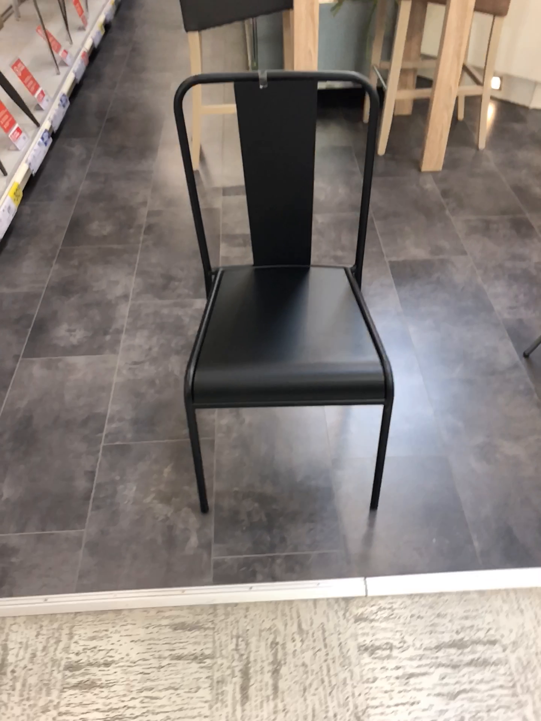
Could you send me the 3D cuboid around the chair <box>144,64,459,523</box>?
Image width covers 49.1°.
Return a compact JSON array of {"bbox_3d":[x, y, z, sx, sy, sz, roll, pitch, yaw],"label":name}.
[{"bbox_3d":[0.038,-0.118,1.315,0.440,0.815,0.573,-3,45,-2],"label":"chair"}]
